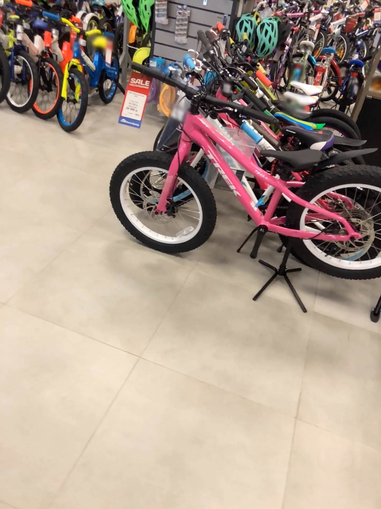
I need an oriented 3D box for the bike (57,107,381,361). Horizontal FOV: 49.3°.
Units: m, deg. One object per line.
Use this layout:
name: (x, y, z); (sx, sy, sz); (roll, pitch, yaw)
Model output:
bike: (0.227, -0.152, 1.695); (1.334, 0.668, 0.574); (13, 34, 16)
